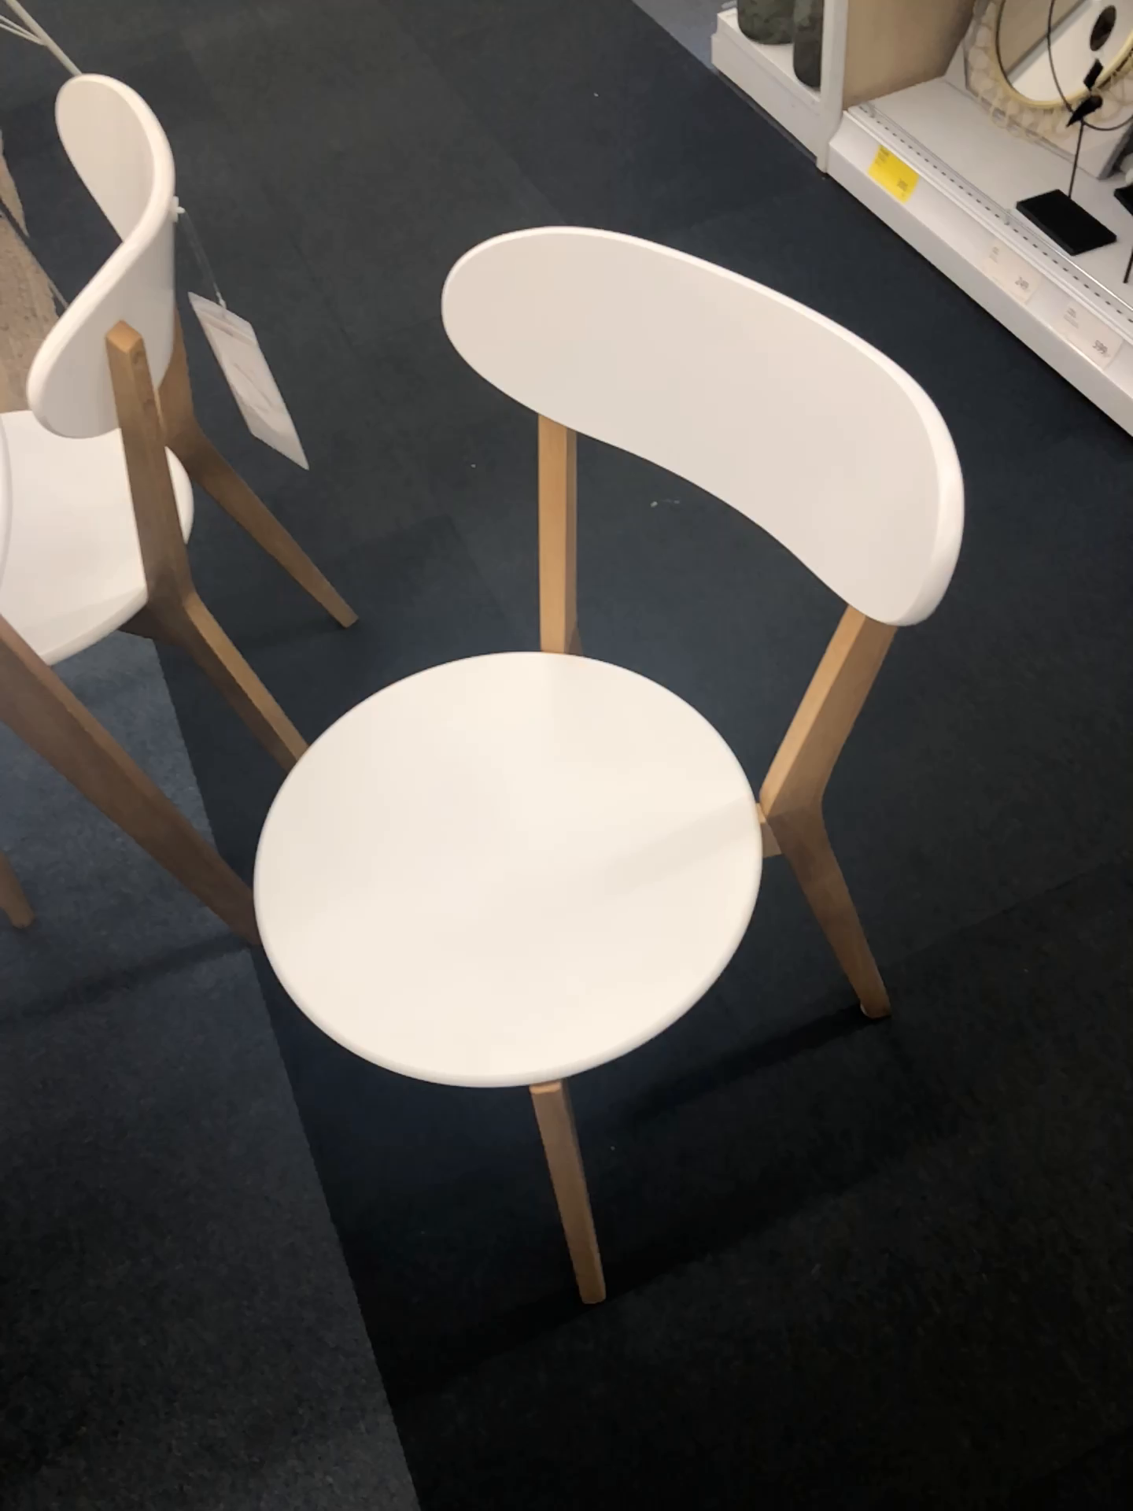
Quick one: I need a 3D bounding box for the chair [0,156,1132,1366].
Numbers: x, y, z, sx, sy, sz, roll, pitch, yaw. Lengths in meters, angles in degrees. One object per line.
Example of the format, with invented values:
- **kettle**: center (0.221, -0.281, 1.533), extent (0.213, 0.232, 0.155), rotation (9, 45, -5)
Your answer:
- **chair**: center (0.020, 0.018, 0.972), extent (0.561, 0.598, 0.481), rotation (-40, 59, -20)
